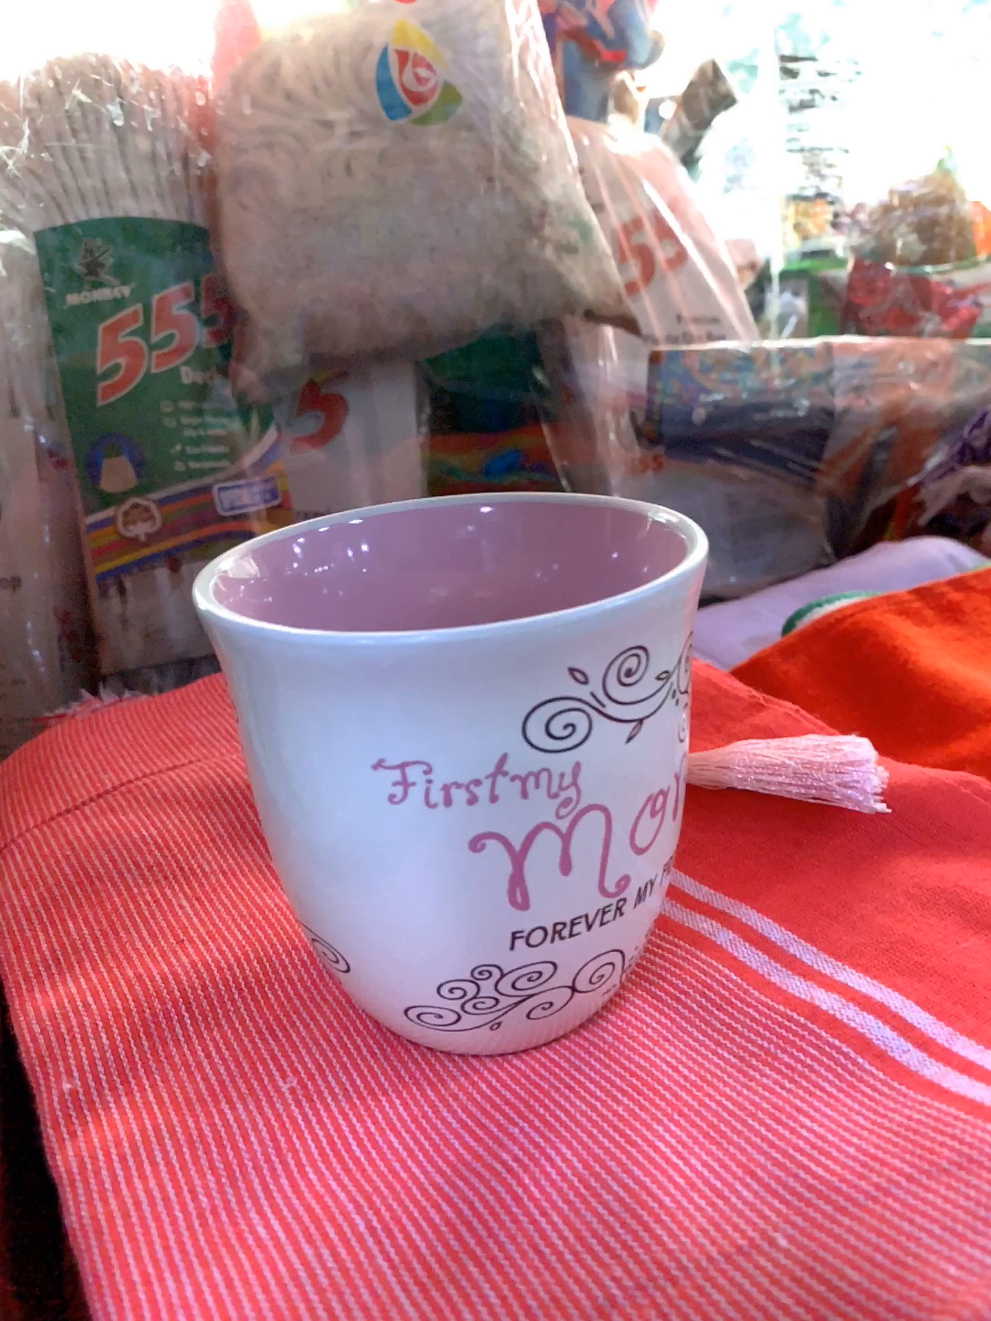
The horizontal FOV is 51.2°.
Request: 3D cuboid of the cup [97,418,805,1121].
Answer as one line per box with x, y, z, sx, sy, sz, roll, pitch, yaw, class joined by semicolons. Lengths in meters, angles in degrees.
0.008;0.005;0.217;0.093;0.080;0.131;3;25;23;cup
